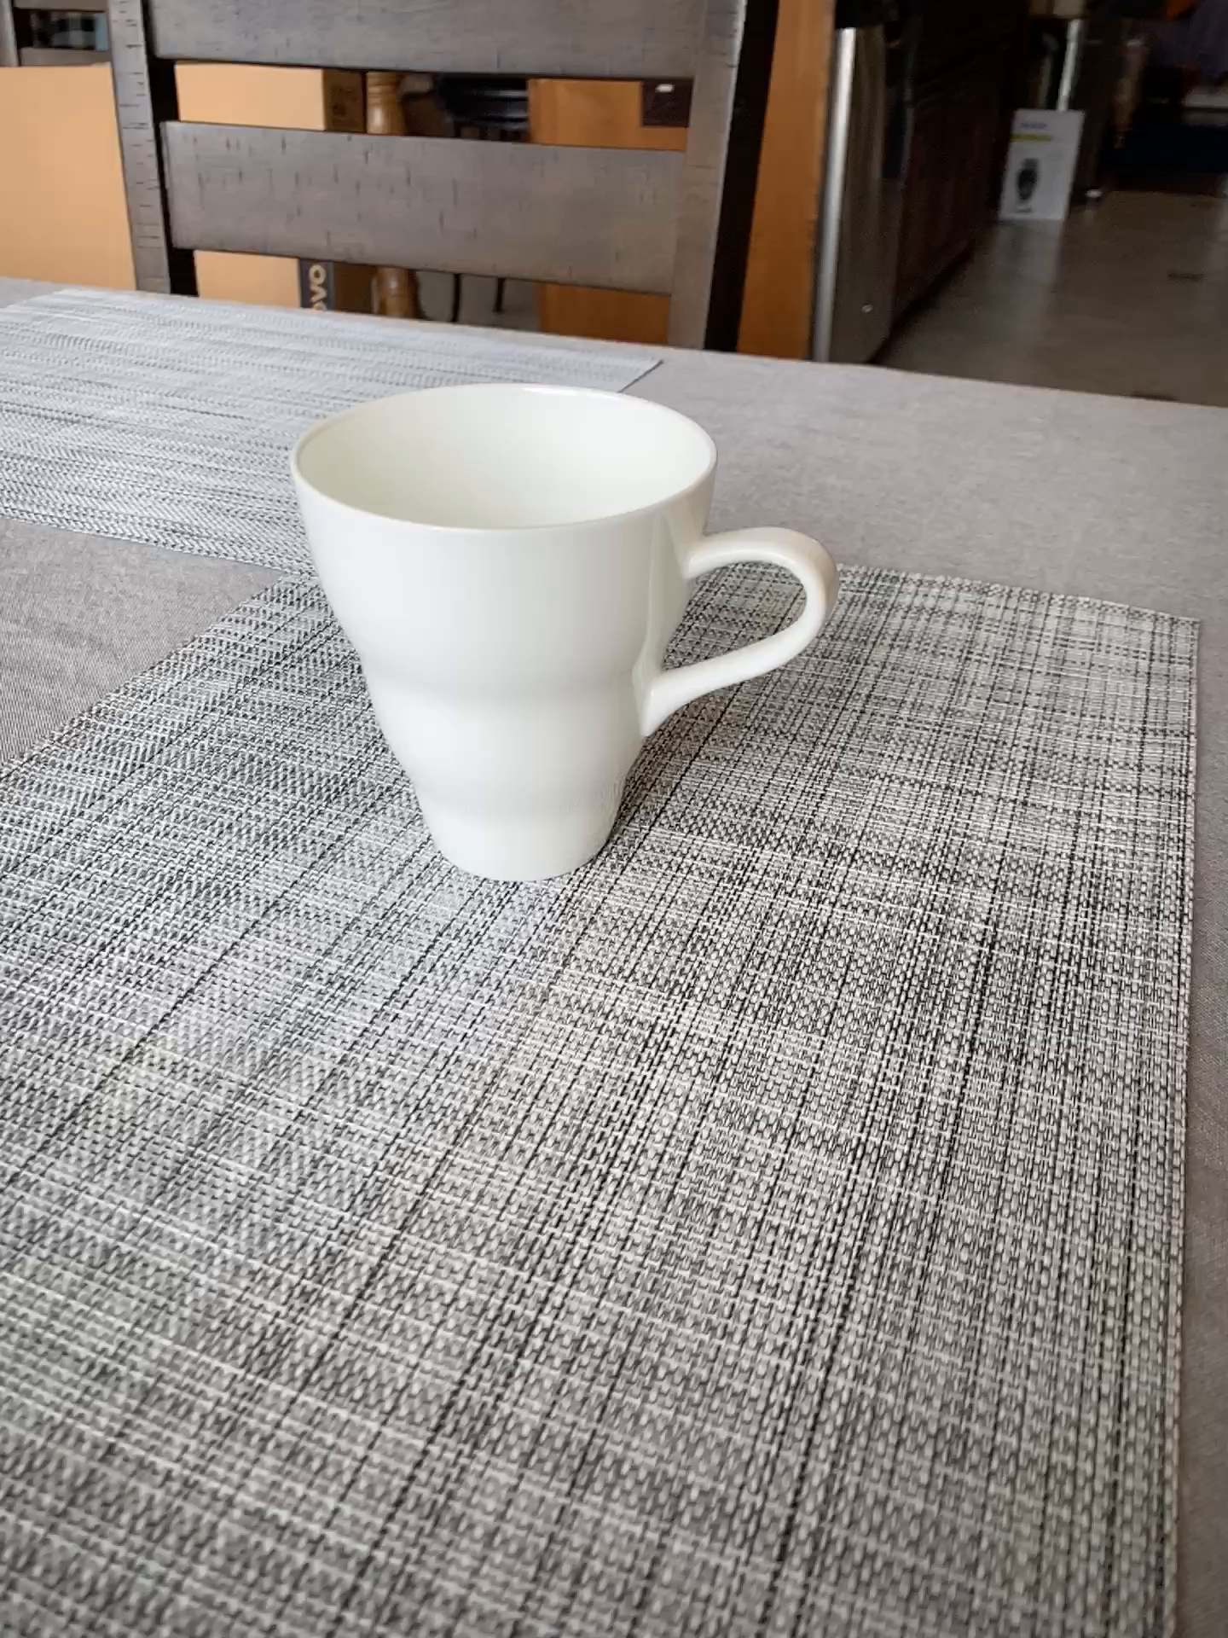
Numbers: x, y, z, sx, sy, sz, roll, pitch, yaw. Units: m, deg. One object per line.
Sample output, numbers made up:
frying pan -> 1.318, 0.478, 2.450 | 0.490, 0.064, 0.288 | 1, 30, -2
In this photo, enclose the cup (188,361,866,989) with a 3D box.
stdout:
cup -> -0.014, -0.042, 0.311 | 0.121, 0.098, 0.099 | 13, 39, 17
